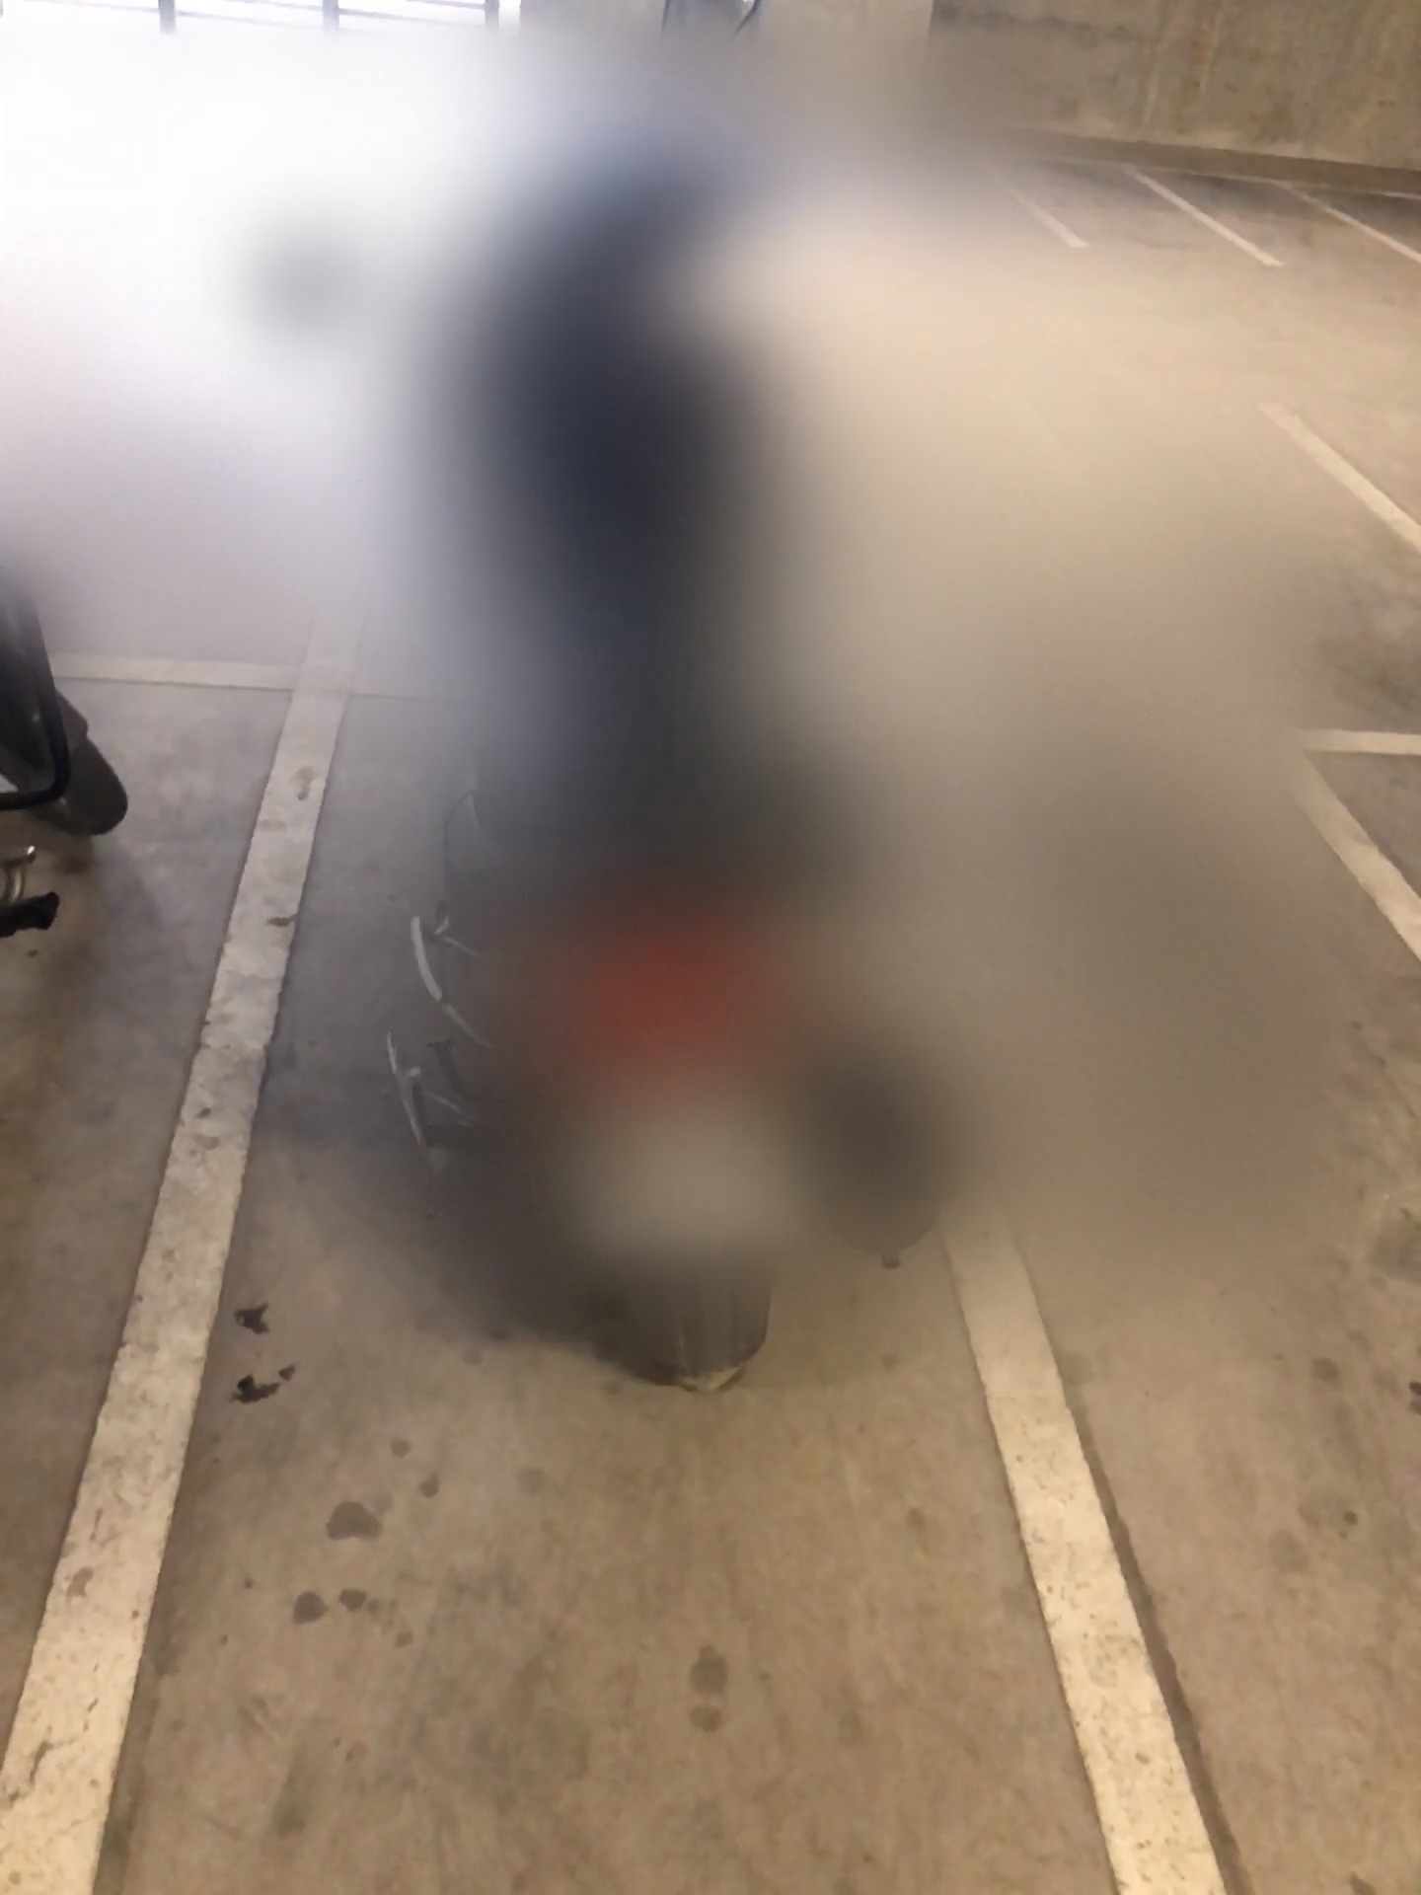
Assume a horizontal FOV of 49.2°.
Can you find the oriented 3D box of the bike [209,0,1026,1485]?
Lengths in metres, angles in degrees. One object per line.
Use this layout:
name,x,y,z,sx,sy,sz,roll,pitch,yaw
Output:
bike,-0.244,-0.544,2.154,0.582,1.187,1.961,0,41,-10
